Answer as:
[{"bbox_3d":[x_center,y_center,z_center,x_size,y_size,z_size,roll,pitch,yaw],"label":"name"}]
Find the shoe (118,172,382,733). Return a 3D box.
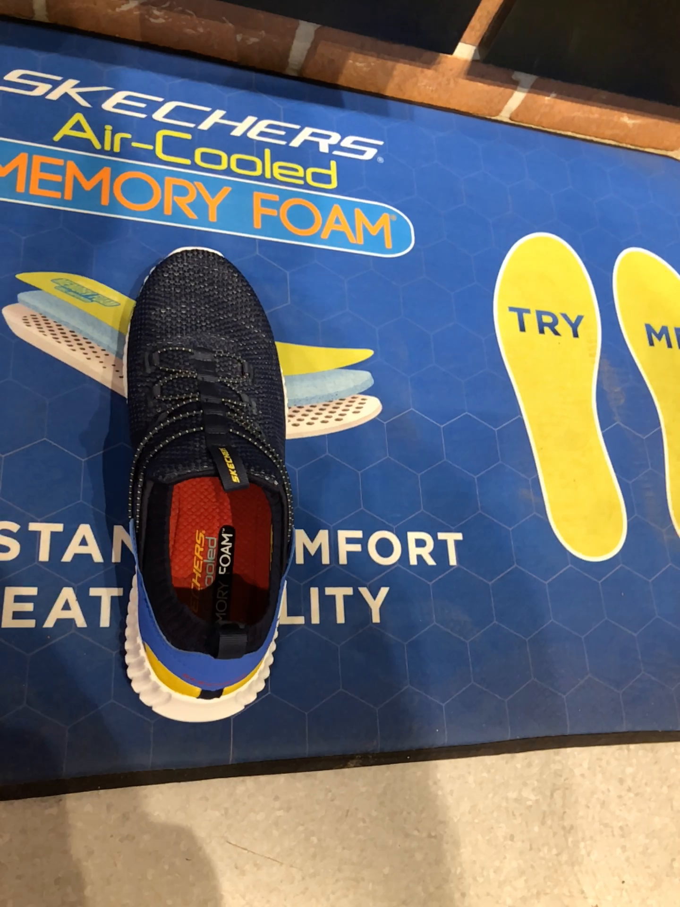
[{"bbox_3d":[-0.063,0.000,0.418,0.111,0.103,0.280,1,70,-19],"label":"shoe"}]
